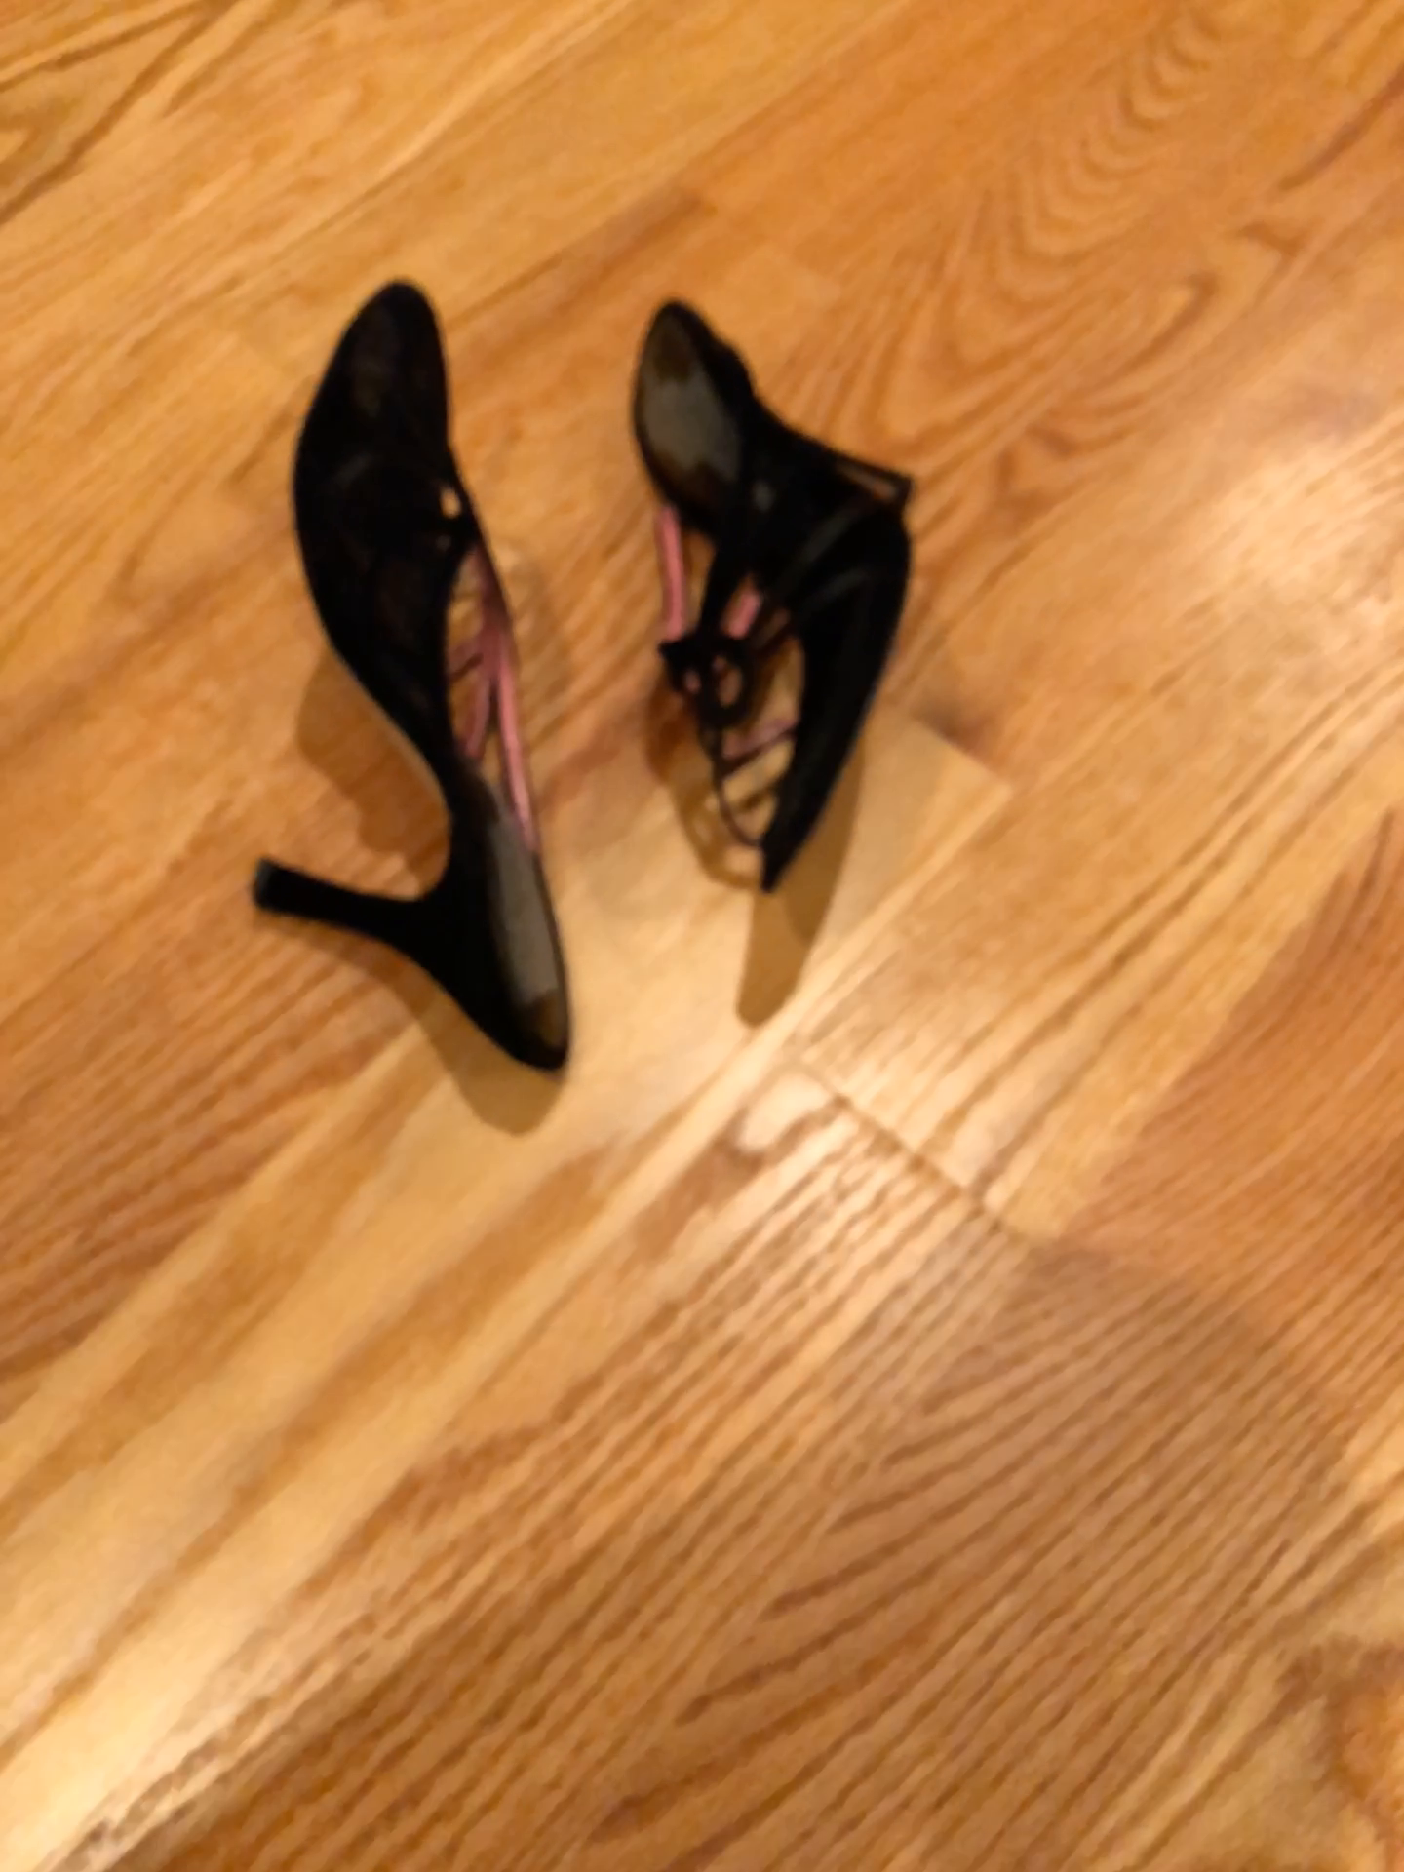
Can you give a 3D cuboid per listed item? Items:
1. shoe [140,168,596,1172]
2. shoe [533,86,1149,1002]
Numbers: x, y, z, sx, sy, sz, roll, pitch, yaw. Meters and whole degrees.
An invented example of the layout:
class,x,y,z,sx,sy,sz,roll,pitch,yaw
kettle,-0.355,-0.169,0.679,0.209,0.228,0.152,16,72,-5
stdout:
class,x,y,z,sx,sy,sz,roll,pitch,yaw
shoe,-0.088,-0.073,0.414,0.082,0.104,0.236,-9,63,-6
shoe,0.026,-0.109,0.433,0.102,0.104,0.216,-11,64,-5
